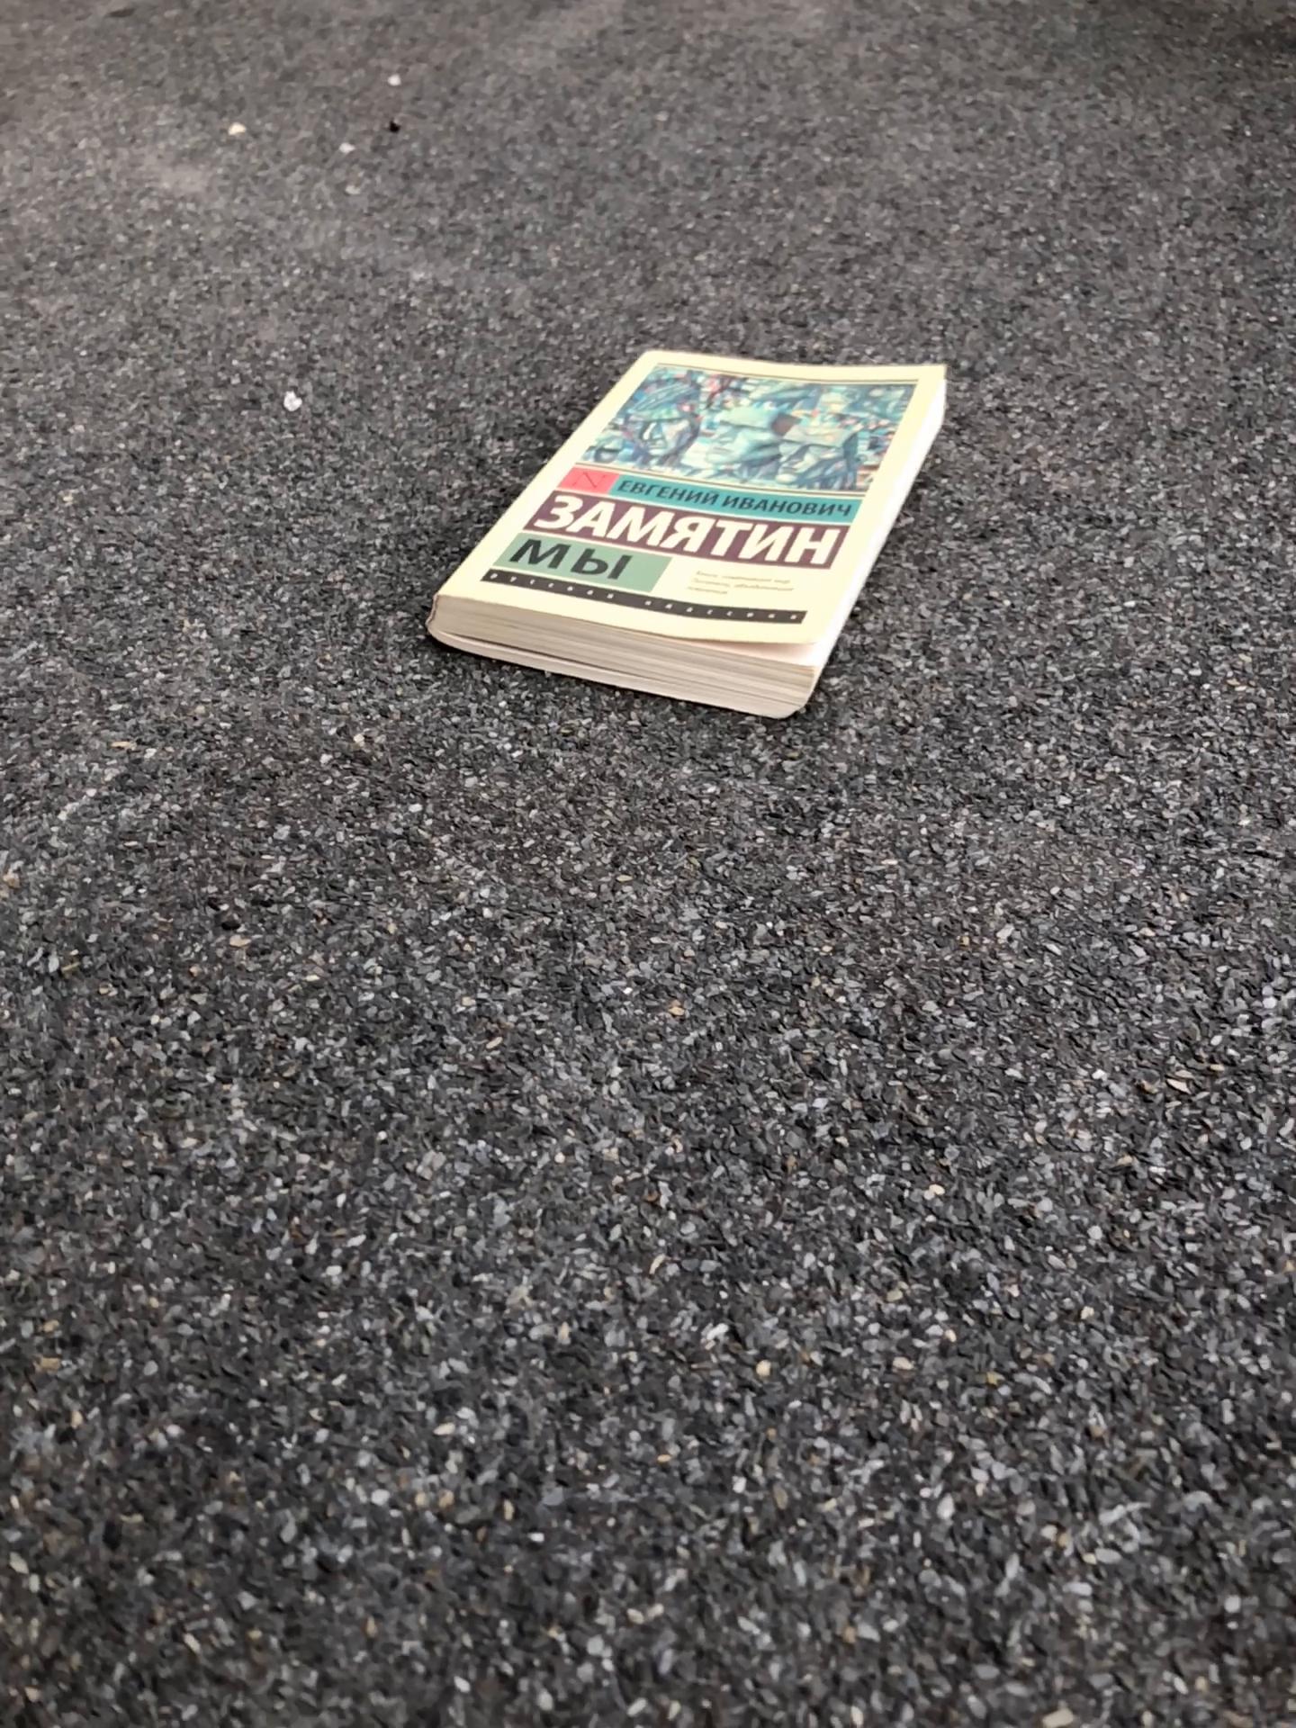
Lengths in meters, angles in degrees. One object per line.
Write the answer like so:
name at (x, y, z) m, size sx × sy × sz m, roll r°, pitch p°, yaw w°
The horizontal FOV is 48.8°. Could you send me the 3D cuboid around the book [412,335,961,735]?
book at (0.021, -0.114, 0.453) m, size 0.120 × 0.026 × 0.182 m, roll 12°, pitch 44°, yaw 16°
